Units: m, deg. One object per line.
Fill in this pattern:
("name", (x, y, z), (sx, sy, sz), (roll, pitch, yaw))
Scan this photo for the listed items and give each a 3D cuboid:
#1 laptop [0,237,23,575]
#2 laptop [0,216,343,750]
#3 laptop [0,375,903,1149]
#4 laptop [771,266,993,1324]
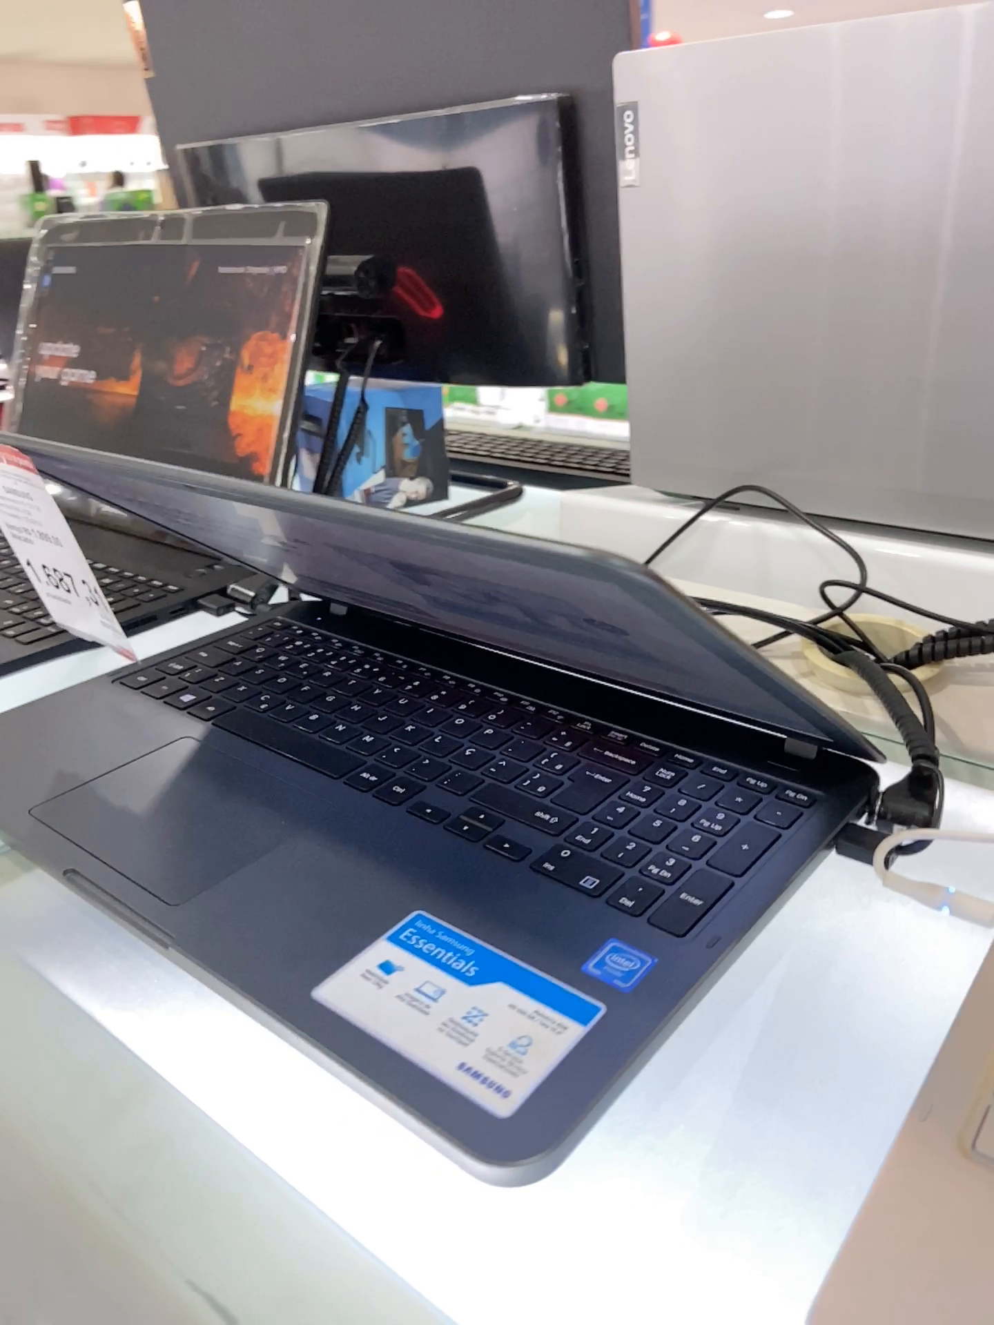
("laptop", (-0.780, -0.291, 1.058), (0.330, 0.246, 0.343), (19, 32, 36))
("laptop", (-0.368, -0.184, 0.716), (0.394, 0.223, 0.372), (16, 30, 34))
("laptop", (-0.065, -0.020, 0.427), (0.367, 0.140, 0.236), (16, 30, 37))
("laptop", (0.277, 0.038, 0.190), (0.316, 0.177, 0.297), (15, 30, 37))
